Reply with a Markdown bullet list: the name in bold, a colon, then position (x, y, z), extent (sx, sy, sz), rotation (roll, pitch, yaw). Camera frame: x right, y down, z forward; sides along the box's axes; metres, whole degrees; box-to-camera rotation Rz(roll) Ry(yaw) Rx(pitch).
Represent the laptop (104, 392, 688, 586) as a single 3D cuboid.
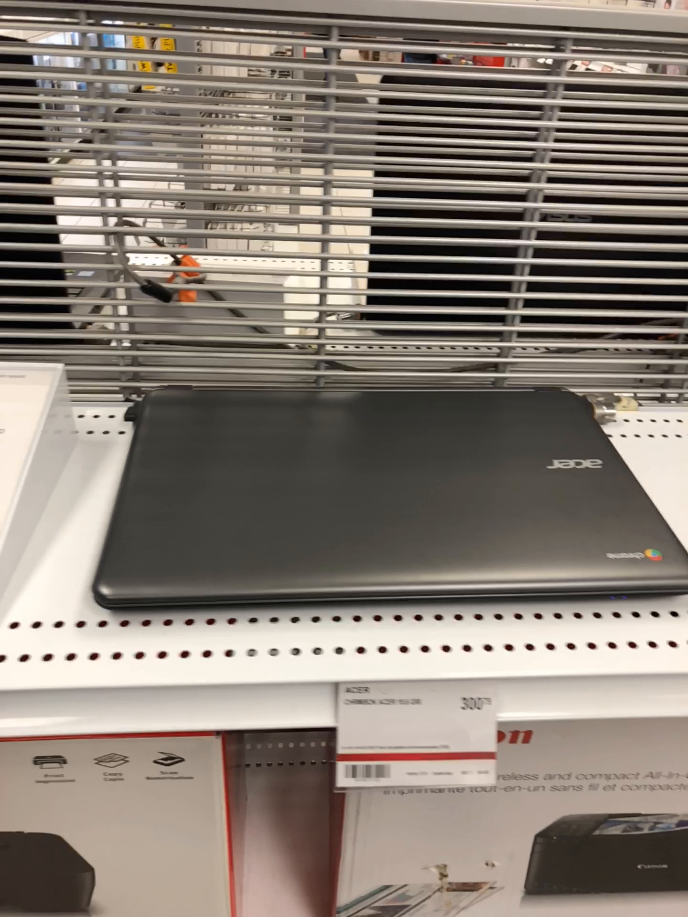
- **laptop**: position (0.030, 0.010, 0.555), extent (0.367, 0.001, 0.238), rotation (0, 34, -4)
